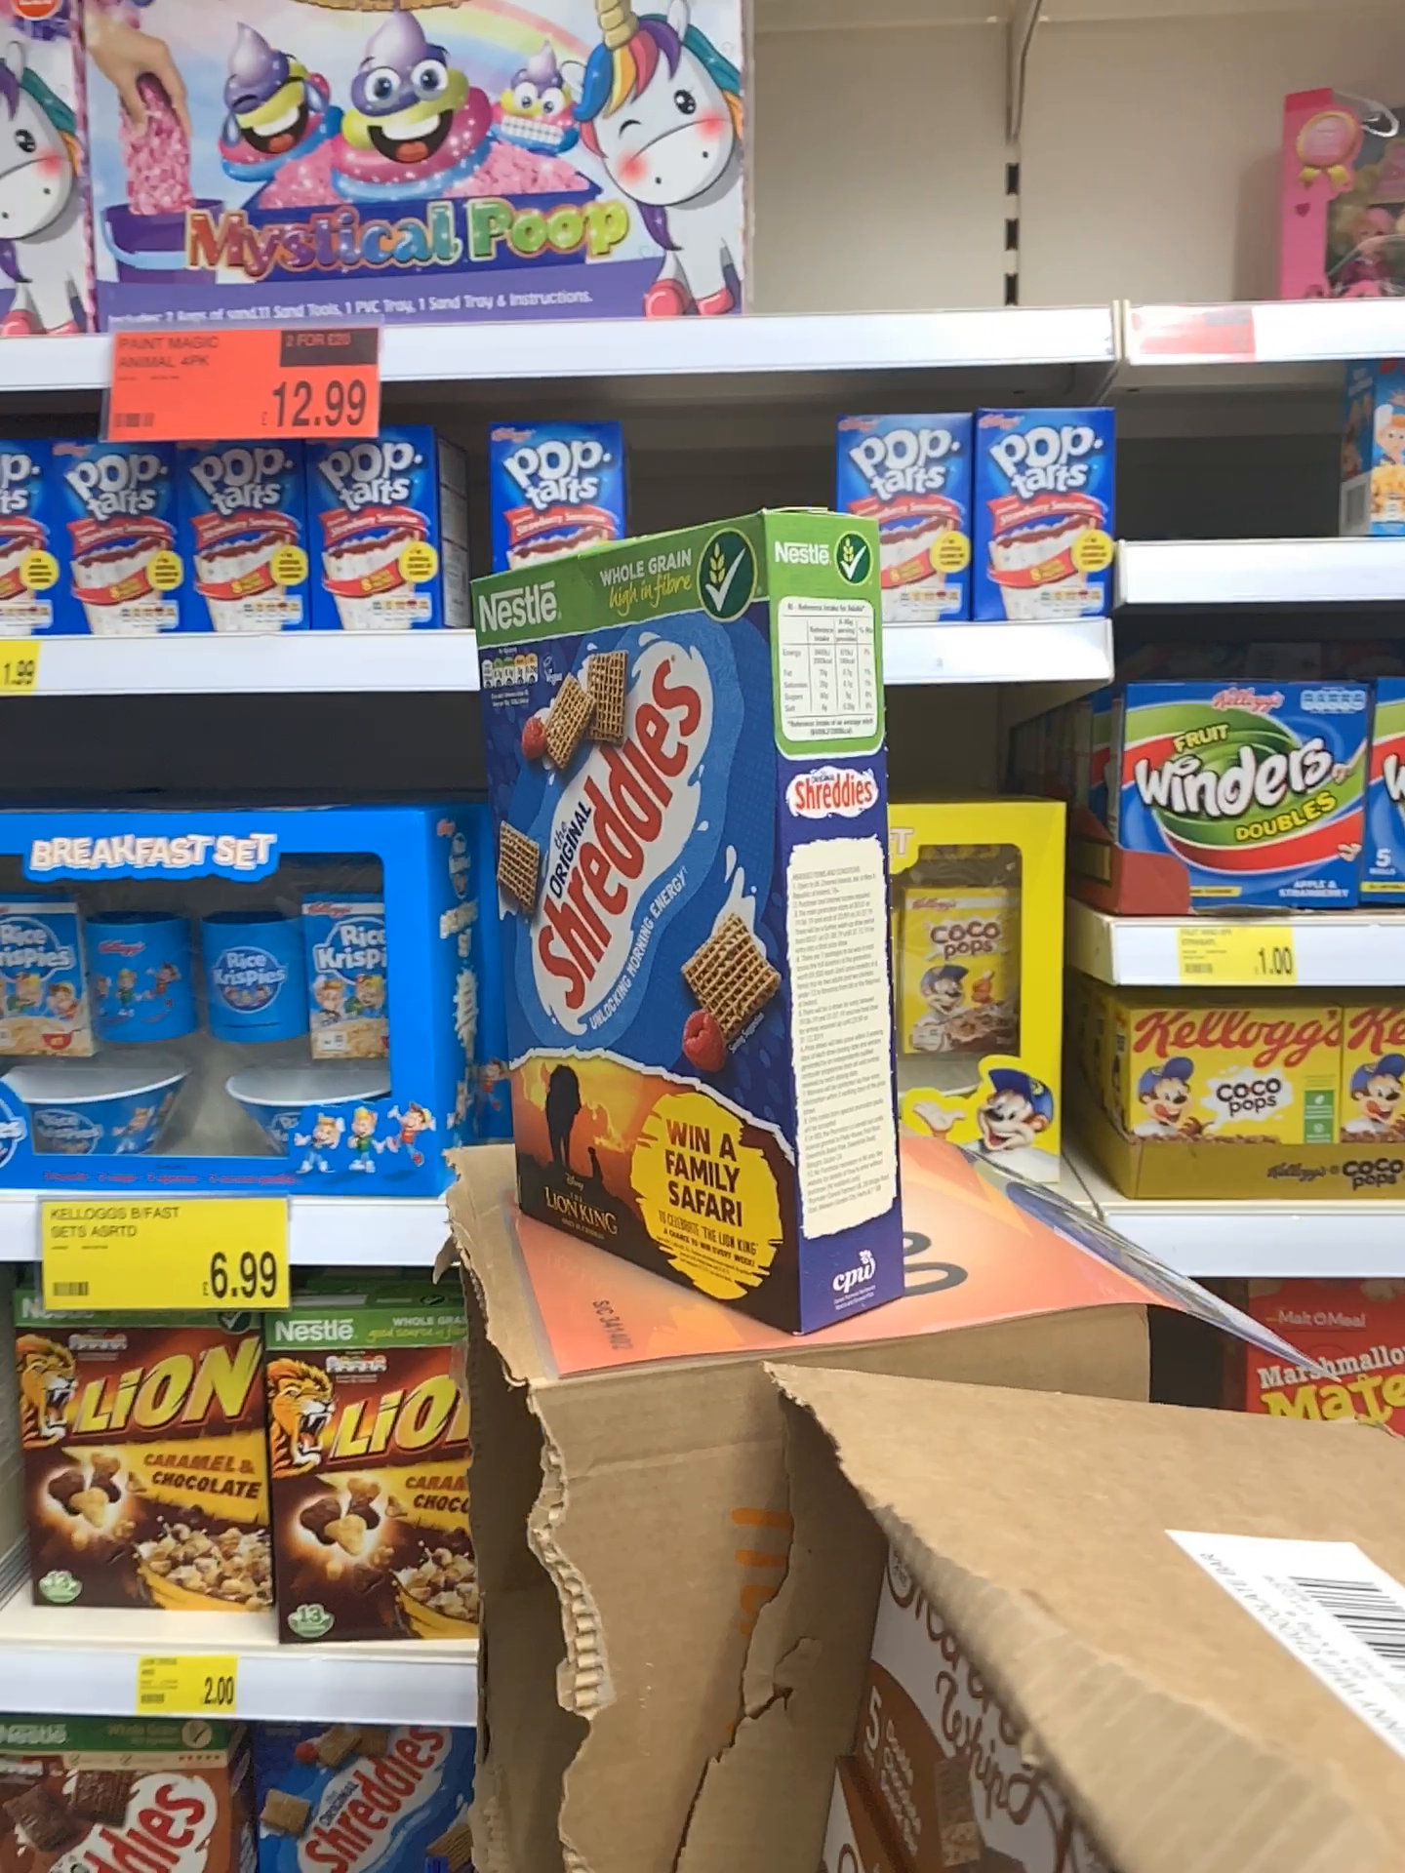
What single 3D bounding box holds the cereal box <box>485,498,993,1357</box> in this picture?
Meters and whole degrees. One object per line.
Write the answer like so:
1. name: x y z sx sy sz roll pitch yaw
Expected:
1. cereal box: 0.005 -0.010 0.554 0.070 0.269 0.210 -7 8 -35
